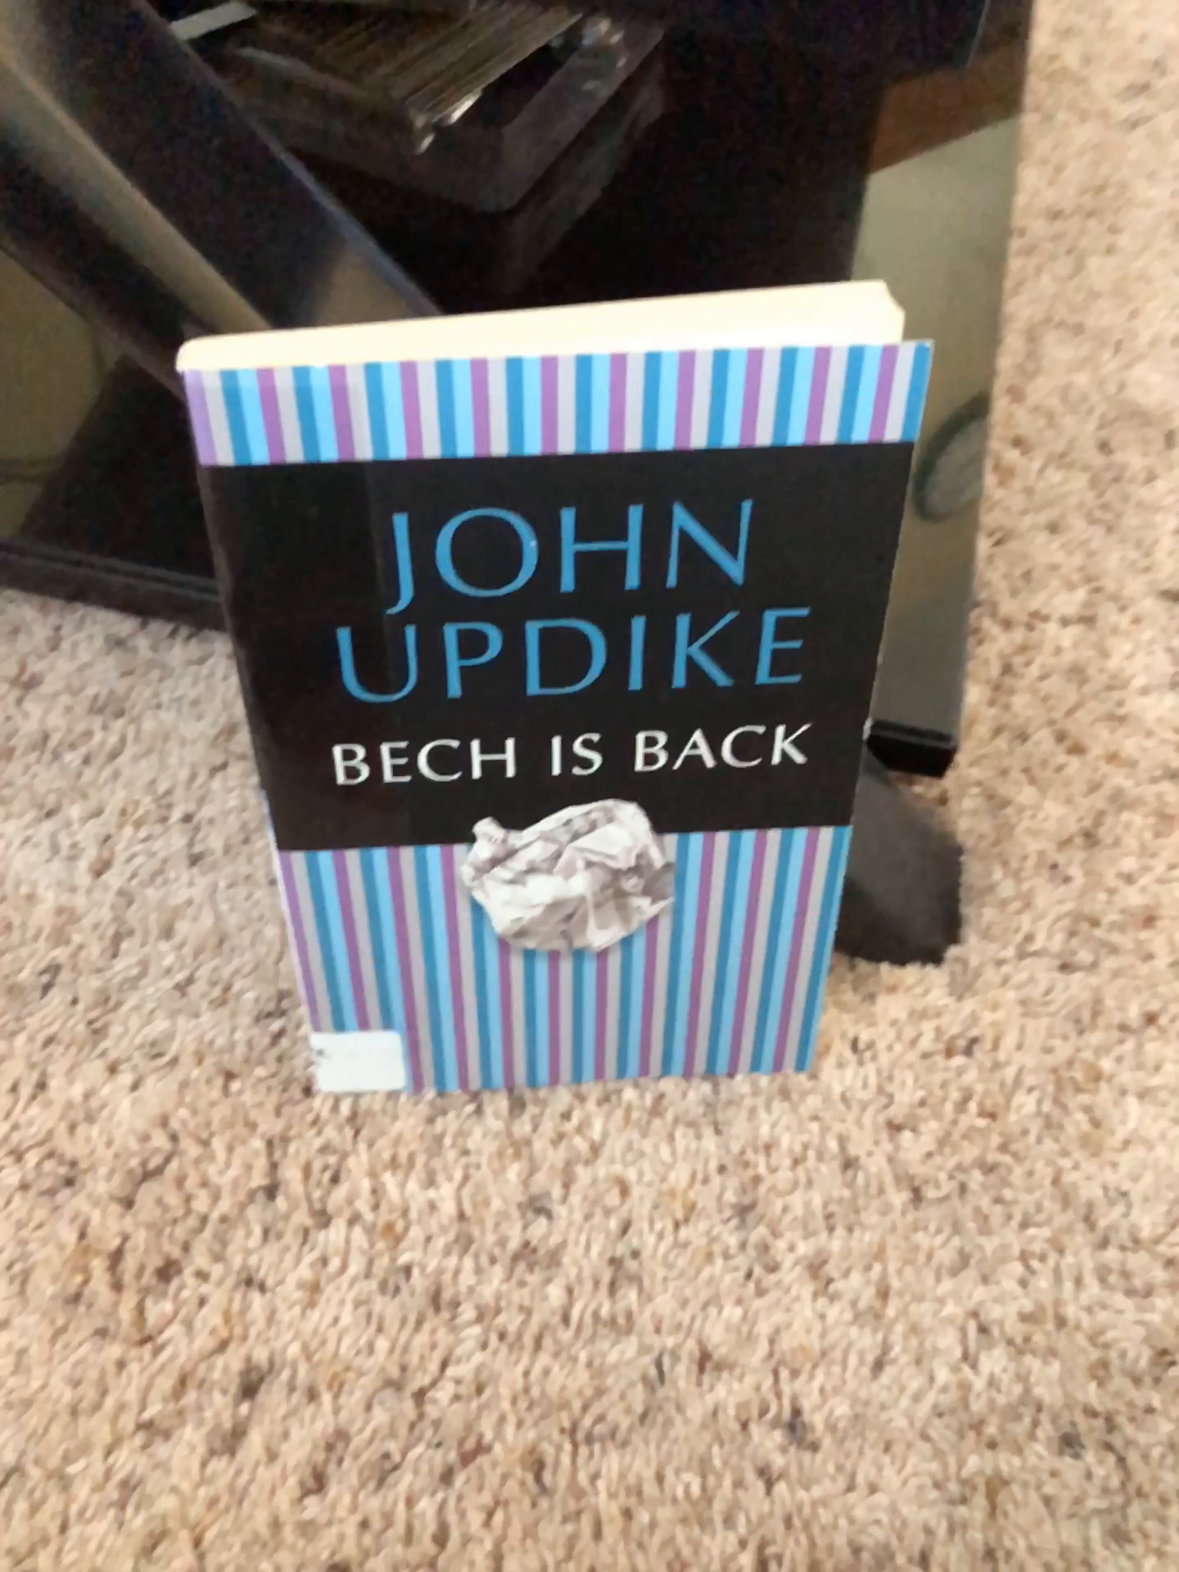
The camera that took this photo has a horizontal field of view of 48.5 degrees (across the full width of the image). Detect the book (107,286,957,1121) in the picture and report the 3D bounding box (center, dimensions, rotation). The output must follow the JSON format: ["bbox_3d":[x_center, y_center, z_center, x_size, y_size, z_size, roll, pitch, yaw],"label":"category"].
[{"bbox_3d":[-0.008,-0.001,0.287,0.135,0.201,0.030,-4,44,-4],"label":"book"}]
